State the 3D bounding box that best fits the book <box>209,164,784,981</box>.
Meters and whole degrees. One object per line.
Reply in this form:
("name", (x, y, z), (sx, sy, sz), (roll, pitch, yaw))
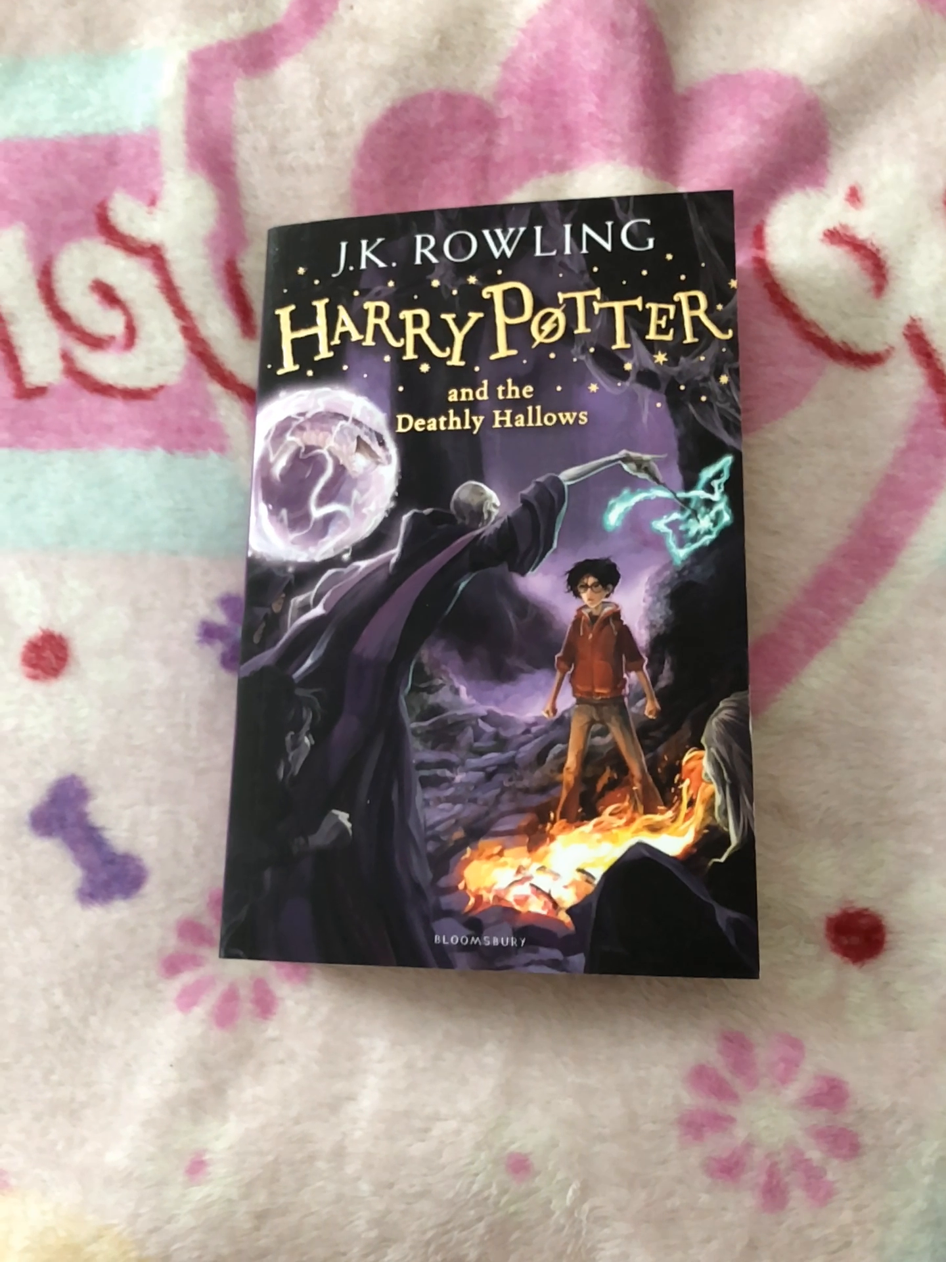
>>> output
("book", (0.010, -0.013, 0.275), (0.126, 0.060, 0.187), (-1, 78, 11))
